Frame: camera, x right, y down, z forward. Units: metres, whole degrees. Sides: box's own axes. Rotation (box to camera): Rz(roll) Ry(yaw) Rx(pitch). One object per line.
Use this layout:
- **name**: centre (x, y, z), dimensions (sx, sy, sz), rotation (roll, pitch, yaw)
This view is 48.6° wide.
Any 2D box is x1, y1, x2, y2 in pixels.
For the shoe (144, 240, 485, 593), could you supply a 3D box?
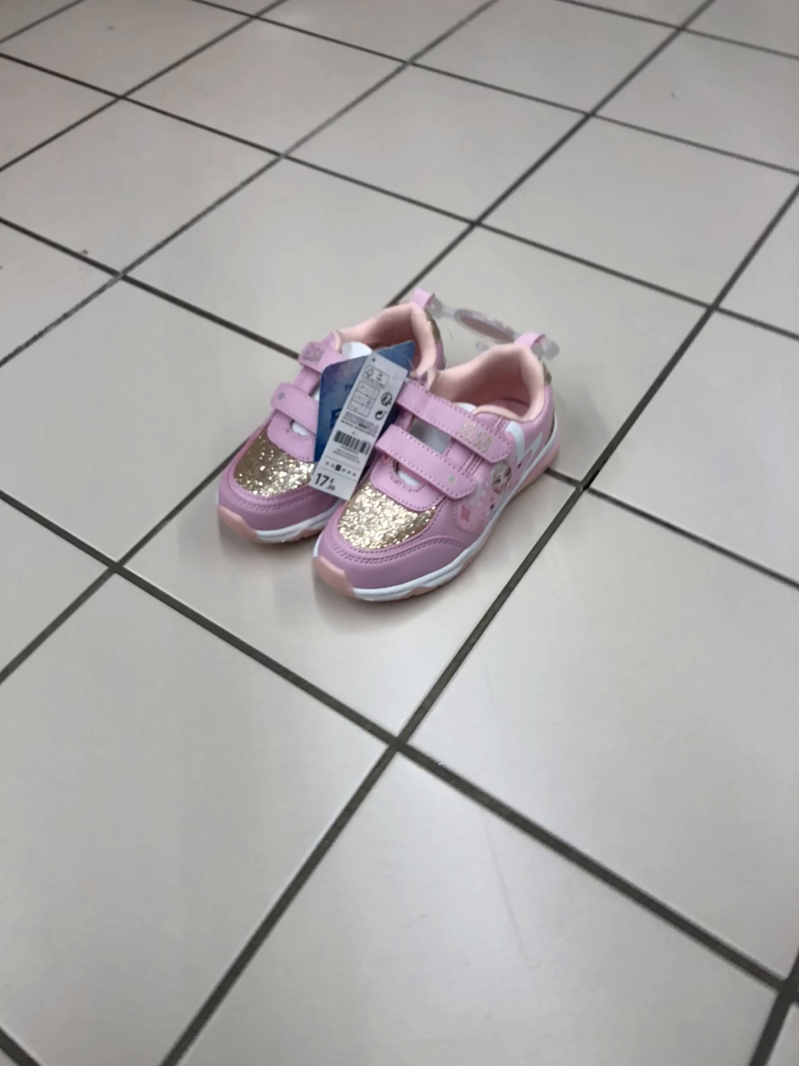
- **shoe**: centre (-0.040, -0.075, 0.527), dimensions (0.083, 0.087, 0.195), rotation (30, 59, 23)

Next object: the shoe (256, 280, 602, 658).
- **shoe**: centre (0.023, -0.042, 0.500), dimensions (0.083, 0.087, 0.195), rotation (30, 59, 23)
